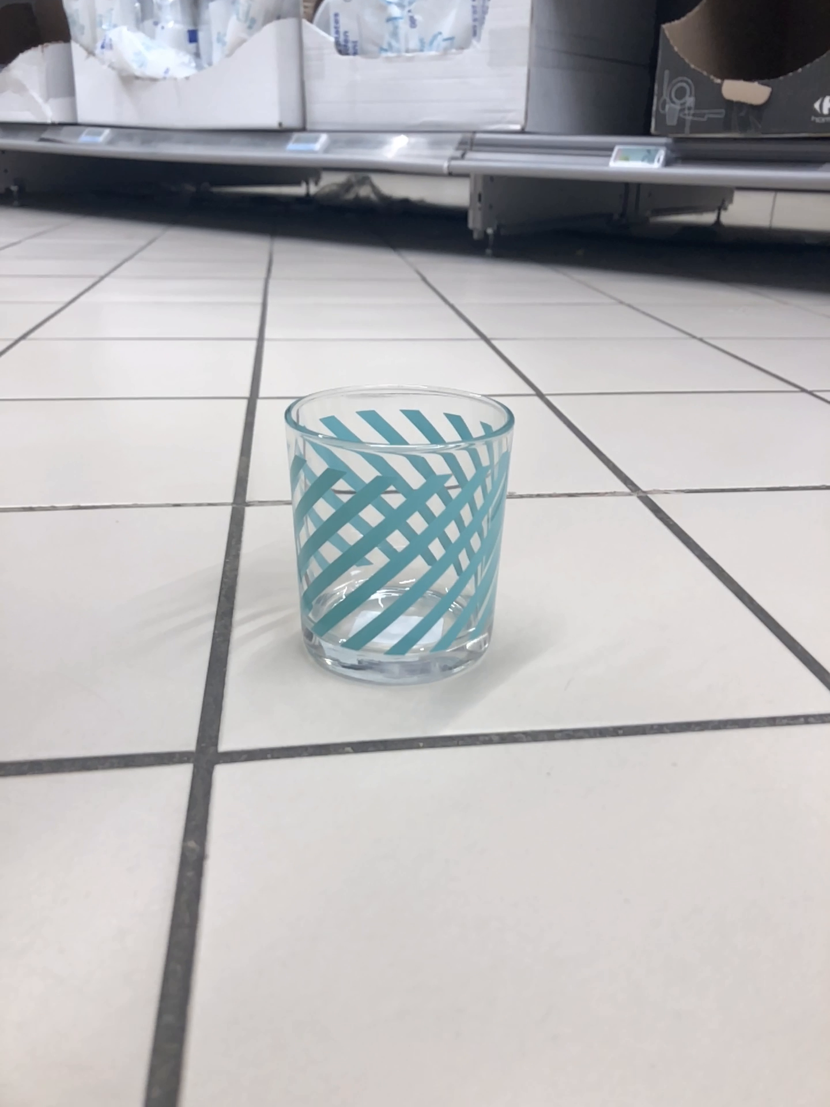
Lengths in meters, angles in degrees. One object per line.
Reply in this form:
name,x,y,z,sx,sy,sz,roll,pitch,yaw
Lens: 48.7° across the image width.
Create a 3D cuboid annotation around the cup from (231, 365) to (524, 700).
cup,-0.008,-0.012,0.302,0.075,0.080,0.080,1,23,0
